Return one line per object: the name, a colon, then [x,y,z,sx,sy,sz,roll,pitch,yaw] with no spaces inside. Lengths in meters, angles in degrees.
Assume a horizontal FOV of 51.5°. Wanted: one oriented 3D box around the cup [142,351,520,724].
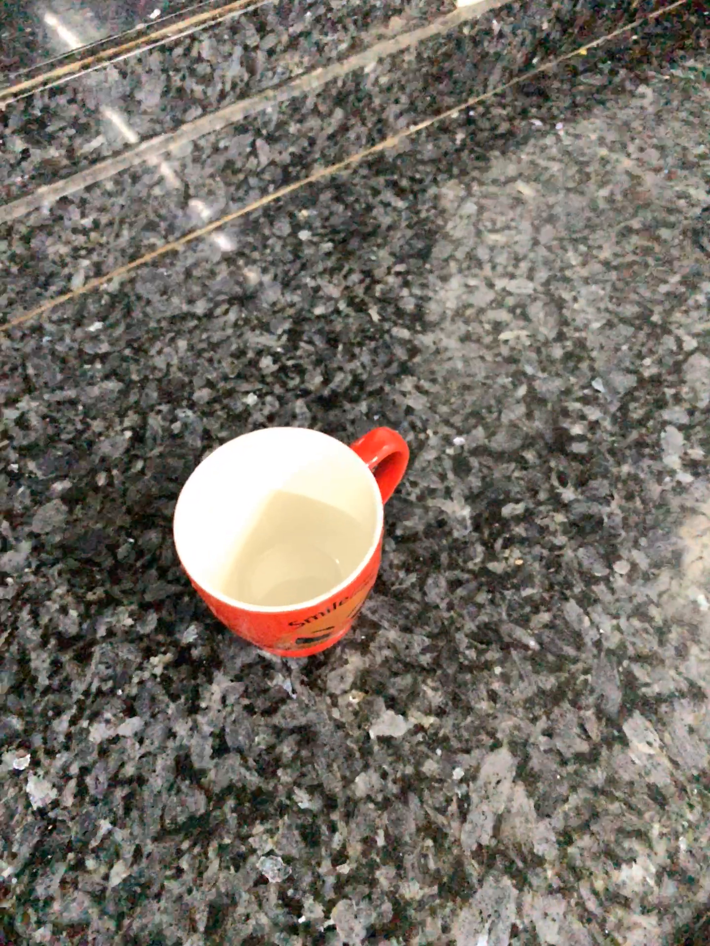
cup: [-0.007,0.024,0.282,0.110,0.070,0.070,-35,64,-19]
